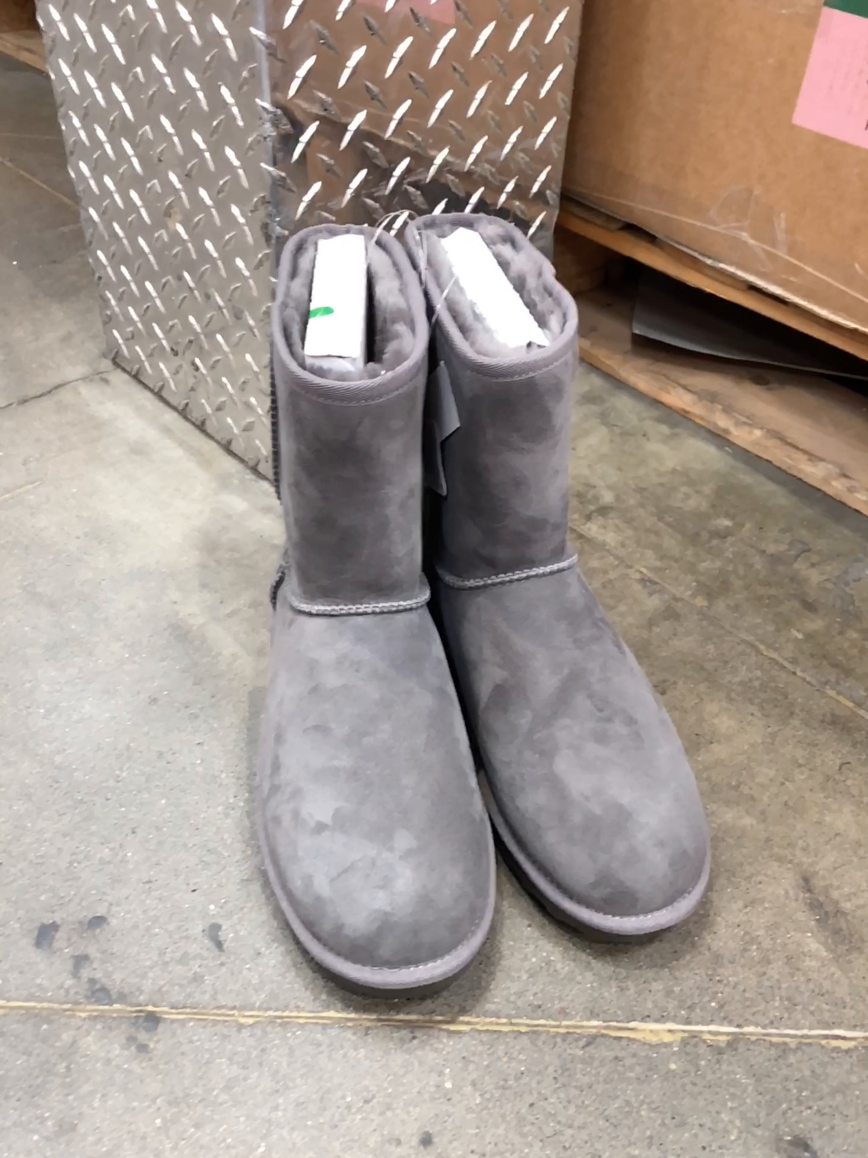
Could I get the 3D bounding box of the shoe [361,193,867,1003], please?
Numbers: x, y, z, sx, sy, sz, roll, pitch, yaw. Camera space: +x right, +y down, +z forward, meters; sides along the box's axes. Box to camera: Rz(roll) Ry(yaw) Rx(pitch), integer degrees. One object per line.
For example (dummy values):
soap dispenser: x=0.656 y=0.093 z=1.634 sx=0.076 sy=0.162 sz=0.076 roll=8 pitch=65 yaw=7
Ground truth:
shoe: x=0.057 y=-0.004 z=0.443 sx=0.110 sy=0.239 sz=0.271 roll=-11 pitch=43 yaw=-15

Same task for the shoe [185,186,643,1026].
shoe: x=-0.031 y=-0.002 z=0.431 sx=0.120 sy=0.239 sz=0.281 roll=-5 pitch=42 yaw=-9
